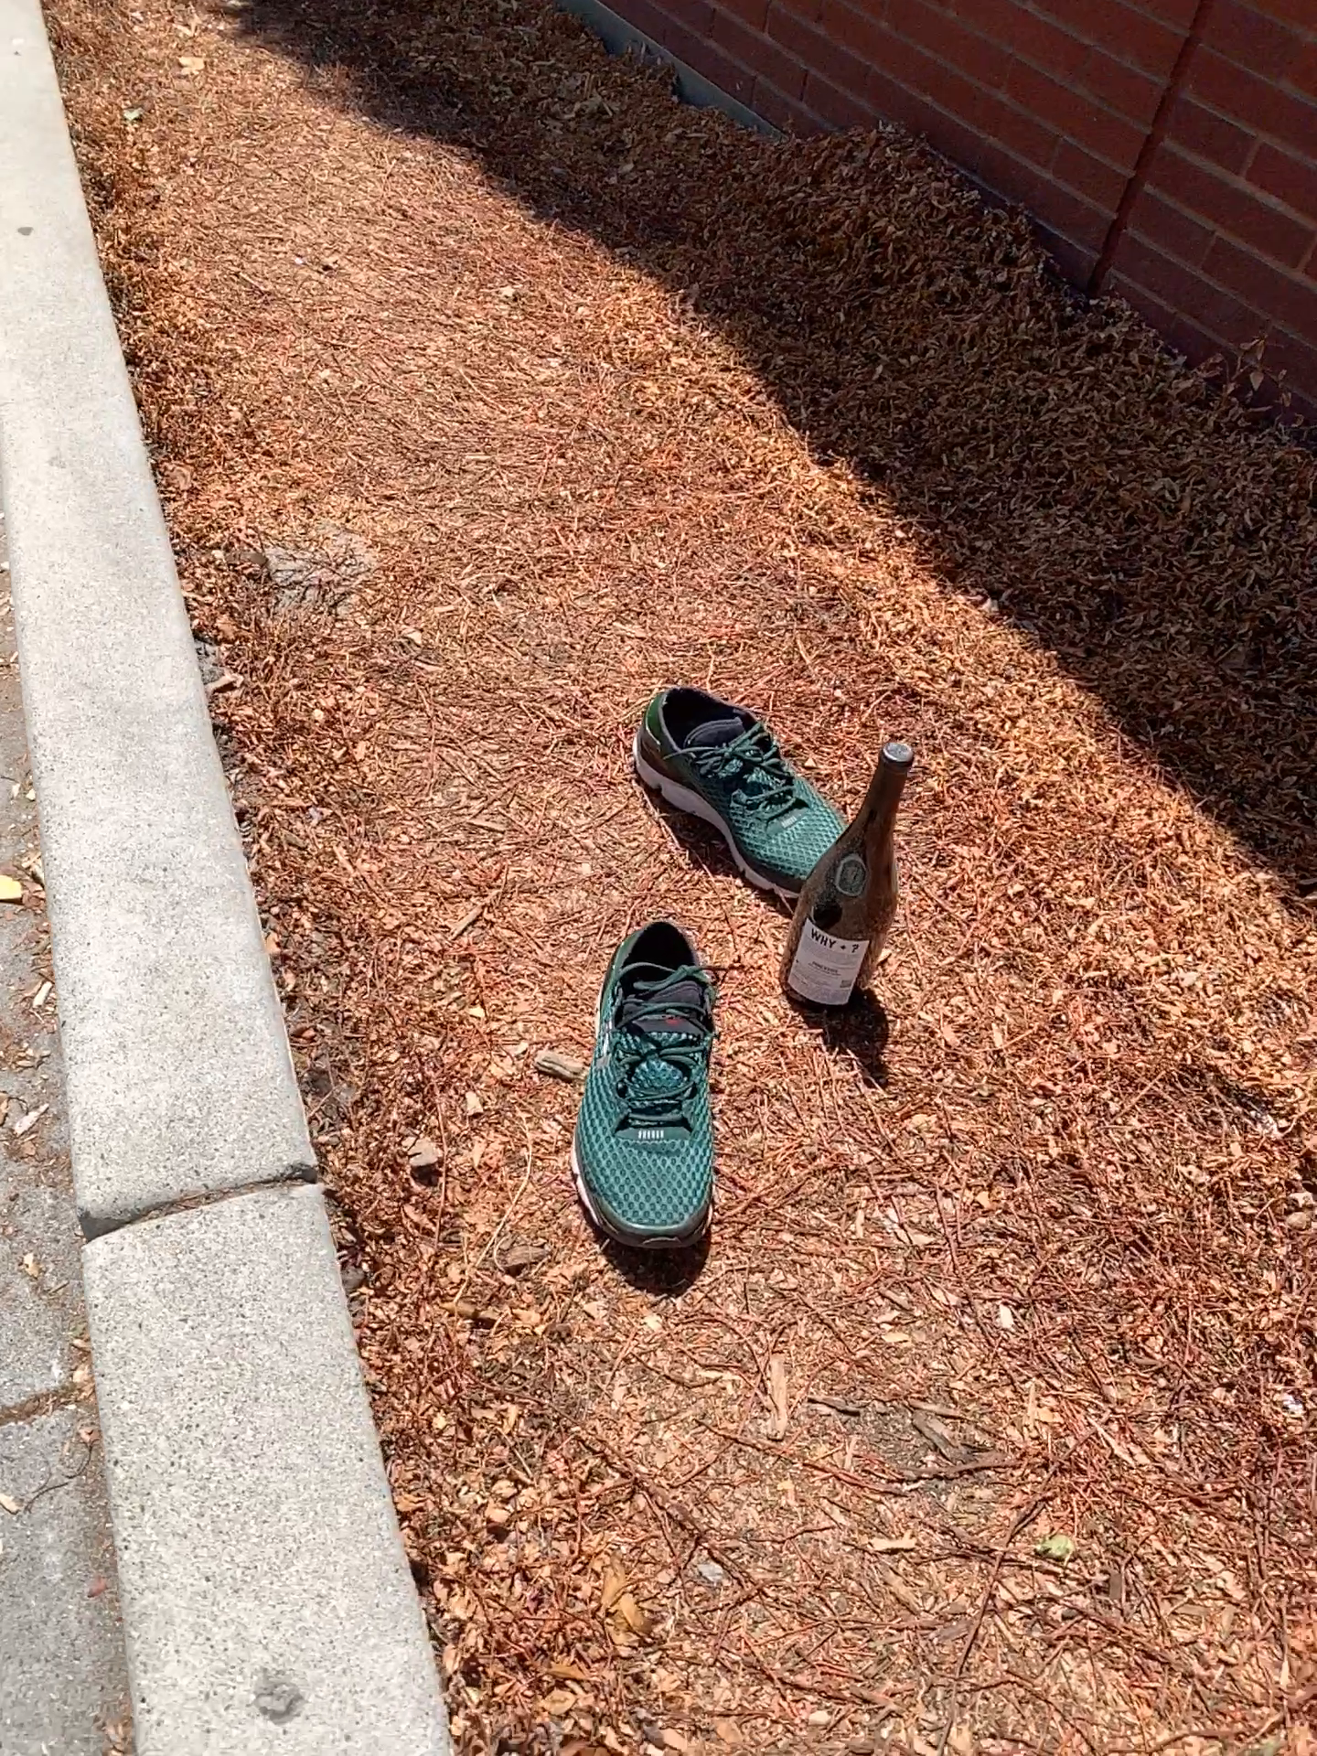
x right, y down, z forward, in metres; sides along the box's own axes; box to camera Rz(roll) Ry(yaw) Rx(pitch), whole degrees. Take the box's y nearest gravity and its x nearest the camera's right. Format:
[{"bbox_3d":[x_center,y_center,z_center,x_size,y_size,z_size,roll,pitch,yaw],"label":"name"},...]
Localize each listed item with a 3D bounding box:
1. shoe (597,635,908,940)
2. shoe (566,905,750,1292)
[{"bbox_3d":[0.085,-0.096,1.328,0.120,0.100,0.301,-28,60,-30],"label":"shoe"},{"bbox_3d":[0.004,0.174,1.108,0.120,0.100,0.291,8,49,-4],"label":"shoe"}]
